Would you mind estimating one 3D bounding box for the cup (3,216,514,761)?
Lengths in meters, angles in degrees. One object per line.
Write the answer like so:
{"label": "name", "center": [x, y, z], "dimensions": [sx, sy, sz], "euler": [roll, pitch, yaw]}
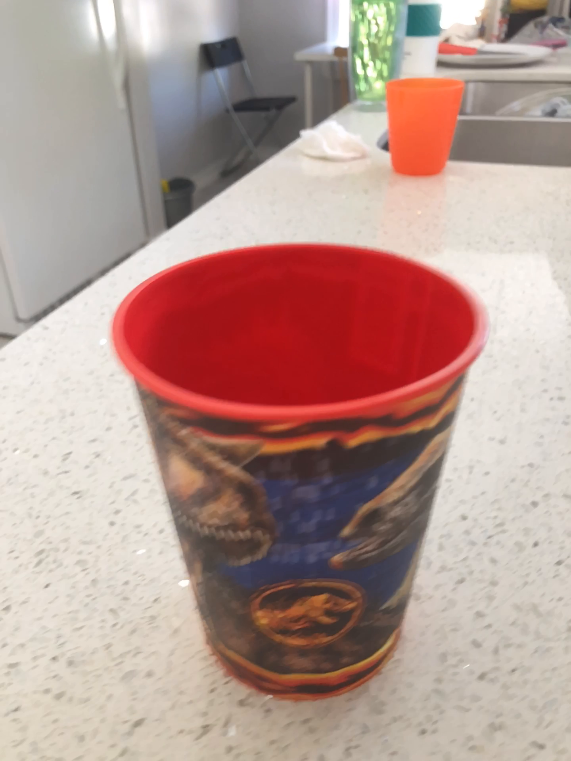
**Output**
{"label": "cup", "center": [0.001, 0.025, 0.183], "dimensions": [0.090, 0.110, 0.090], "euler": [-2, 31, 1]}
